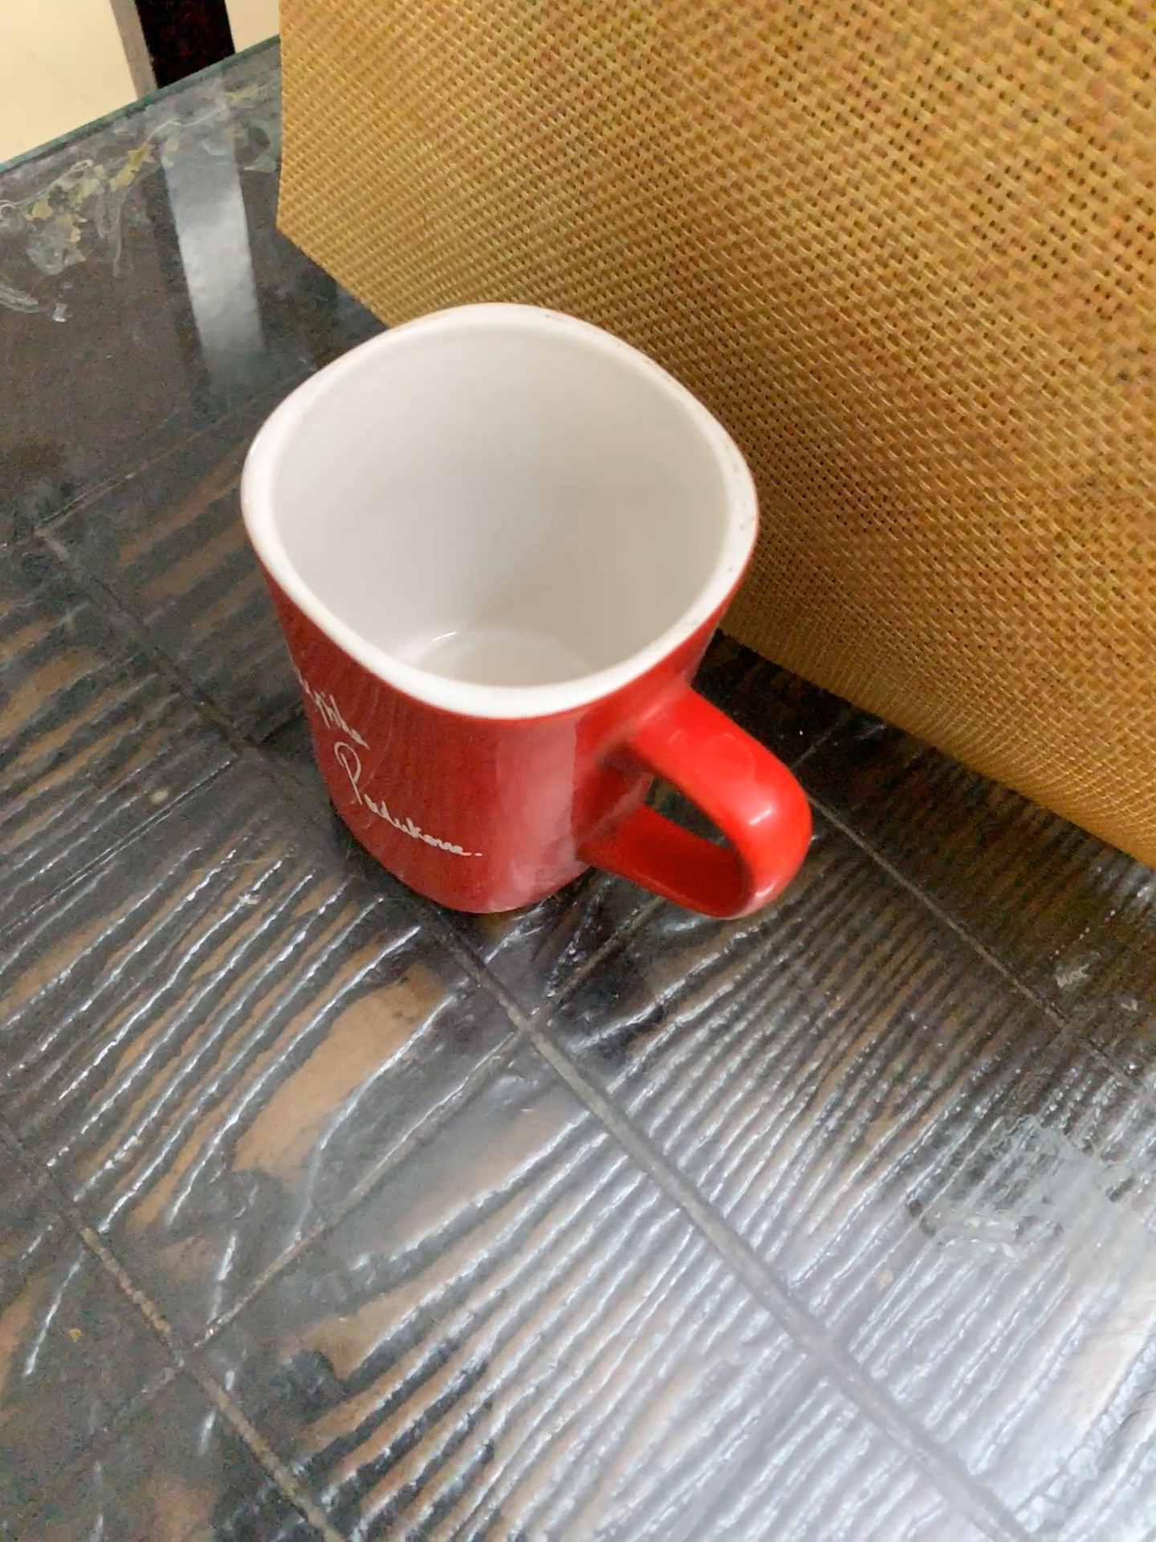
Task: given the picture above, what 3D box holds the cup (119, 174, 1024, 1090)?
[{"bbox_3d":[-0.005,-0.019,0.193,0.070,0.080,0.100,-37,72,-21],"label":"cup"}]
